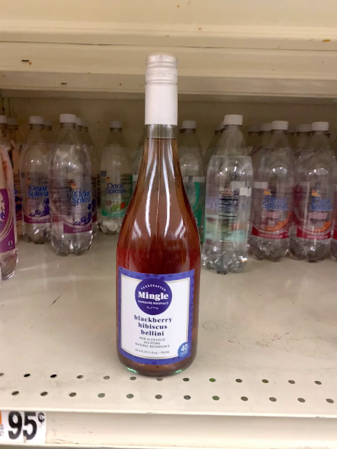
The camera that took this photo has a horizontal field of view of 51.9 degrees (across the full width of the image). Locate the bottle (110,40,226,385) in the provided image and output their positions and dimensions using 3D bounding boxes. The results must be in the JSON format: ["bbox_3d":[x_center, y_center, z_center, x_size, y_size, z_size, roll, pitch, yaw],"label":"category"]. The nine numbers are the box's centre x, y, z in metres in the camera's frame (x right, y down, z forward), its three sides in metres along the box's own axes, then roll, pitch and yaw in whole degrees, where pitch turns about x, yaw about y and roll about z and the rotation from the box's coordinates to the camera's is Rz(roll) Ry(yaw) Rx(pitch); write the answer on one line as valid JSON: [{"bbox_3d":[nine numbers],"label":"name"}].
[{"bbox_3d":[0.000,-0.005,0.338,0.090,0.299,0.080,3,13,6],"label":"bottle"}]
